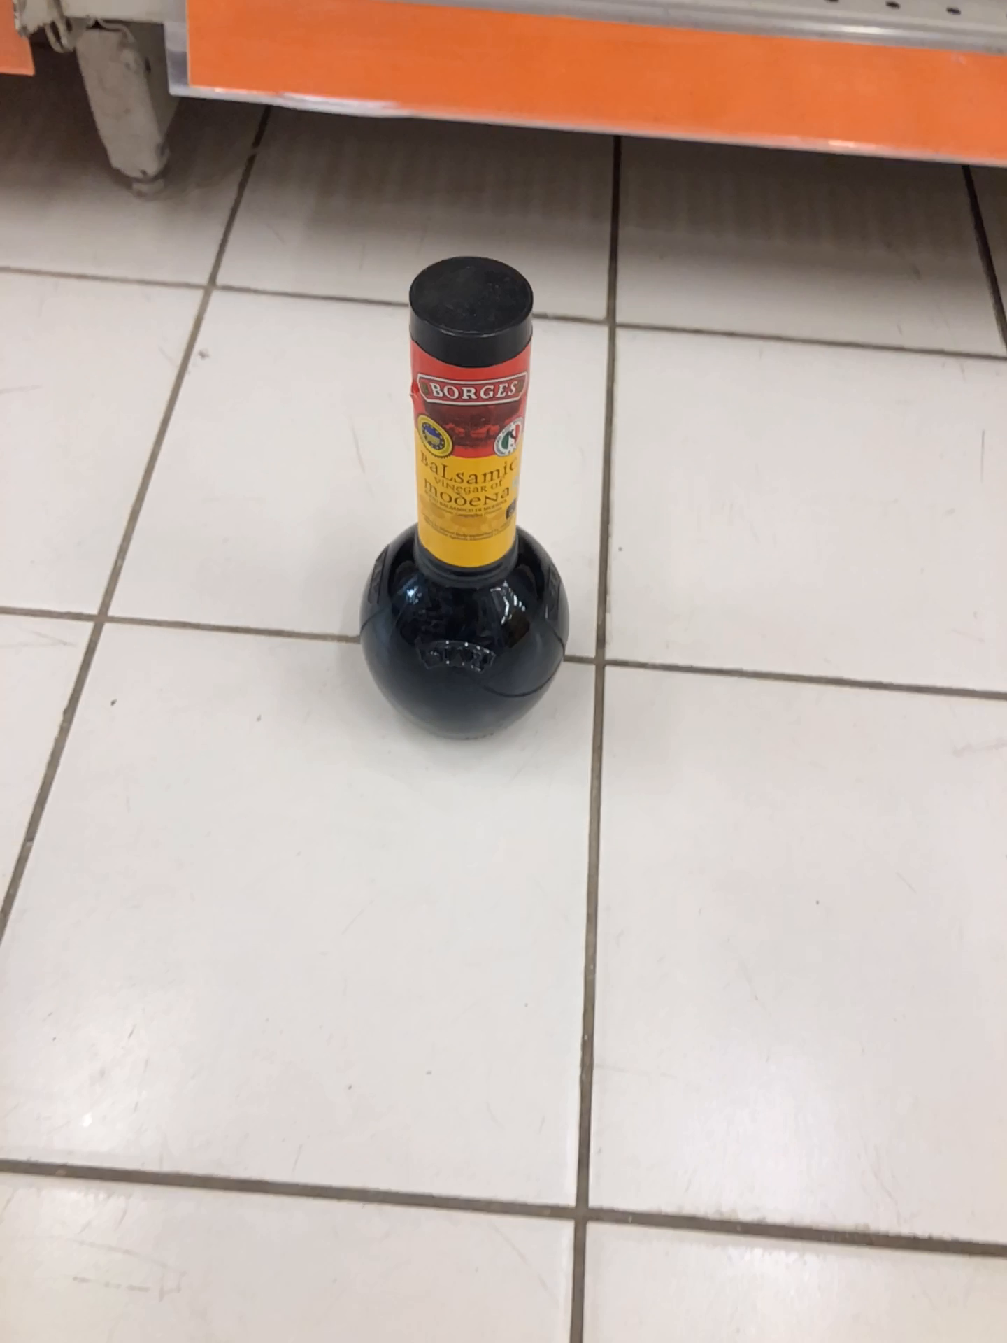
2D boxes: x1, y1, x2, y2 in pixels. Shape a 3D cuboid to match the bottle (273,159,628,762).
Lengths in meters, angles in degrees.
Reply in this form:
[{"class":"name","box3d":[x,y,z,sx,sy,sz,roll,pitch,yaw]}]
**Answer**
[{"class":"bottle","box3d":[-0.013,-0.052,0.354,0.080,0.179,0.080,1,58,-2]}]
